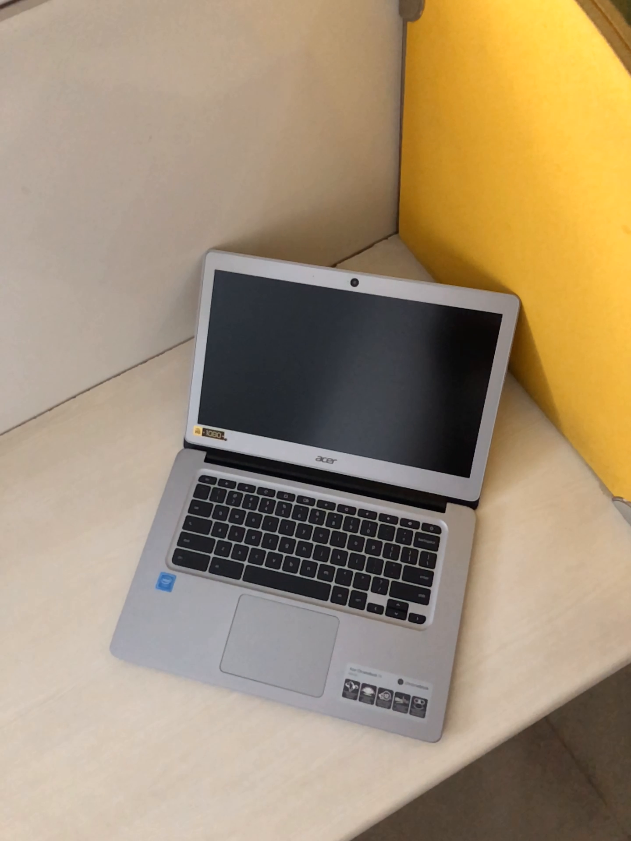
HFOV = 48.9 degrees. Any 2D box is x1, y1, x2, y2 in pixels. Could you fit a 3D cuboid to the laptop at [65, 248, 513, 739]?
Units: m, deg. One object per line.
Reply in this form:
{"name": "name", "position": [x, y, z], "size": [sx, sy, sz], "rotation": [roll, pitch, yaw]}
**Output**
{"name": "laptop", "position": [-0.005, 0.056, 0.694], "size": [0.319, 0.124, 0.410], "rotation": [11, 69, 10]}
